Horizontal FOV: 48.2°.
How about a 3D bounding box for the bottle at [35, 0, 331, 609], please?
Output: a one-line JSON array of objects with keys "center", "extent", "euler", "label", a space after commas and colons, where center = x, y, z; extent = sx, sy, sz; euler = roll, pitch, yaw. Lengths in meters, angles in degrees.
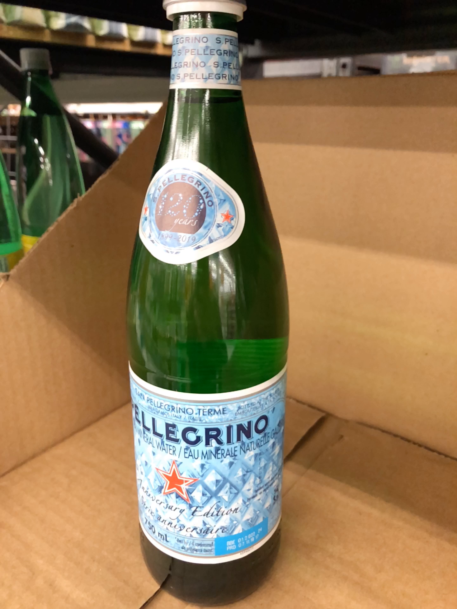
[{"center": [-0.015, 0.007, 0.231], "extent": [0.080, 0.278, 0.070], "euler": [14, 24, 33], "label": "bottle"}]
